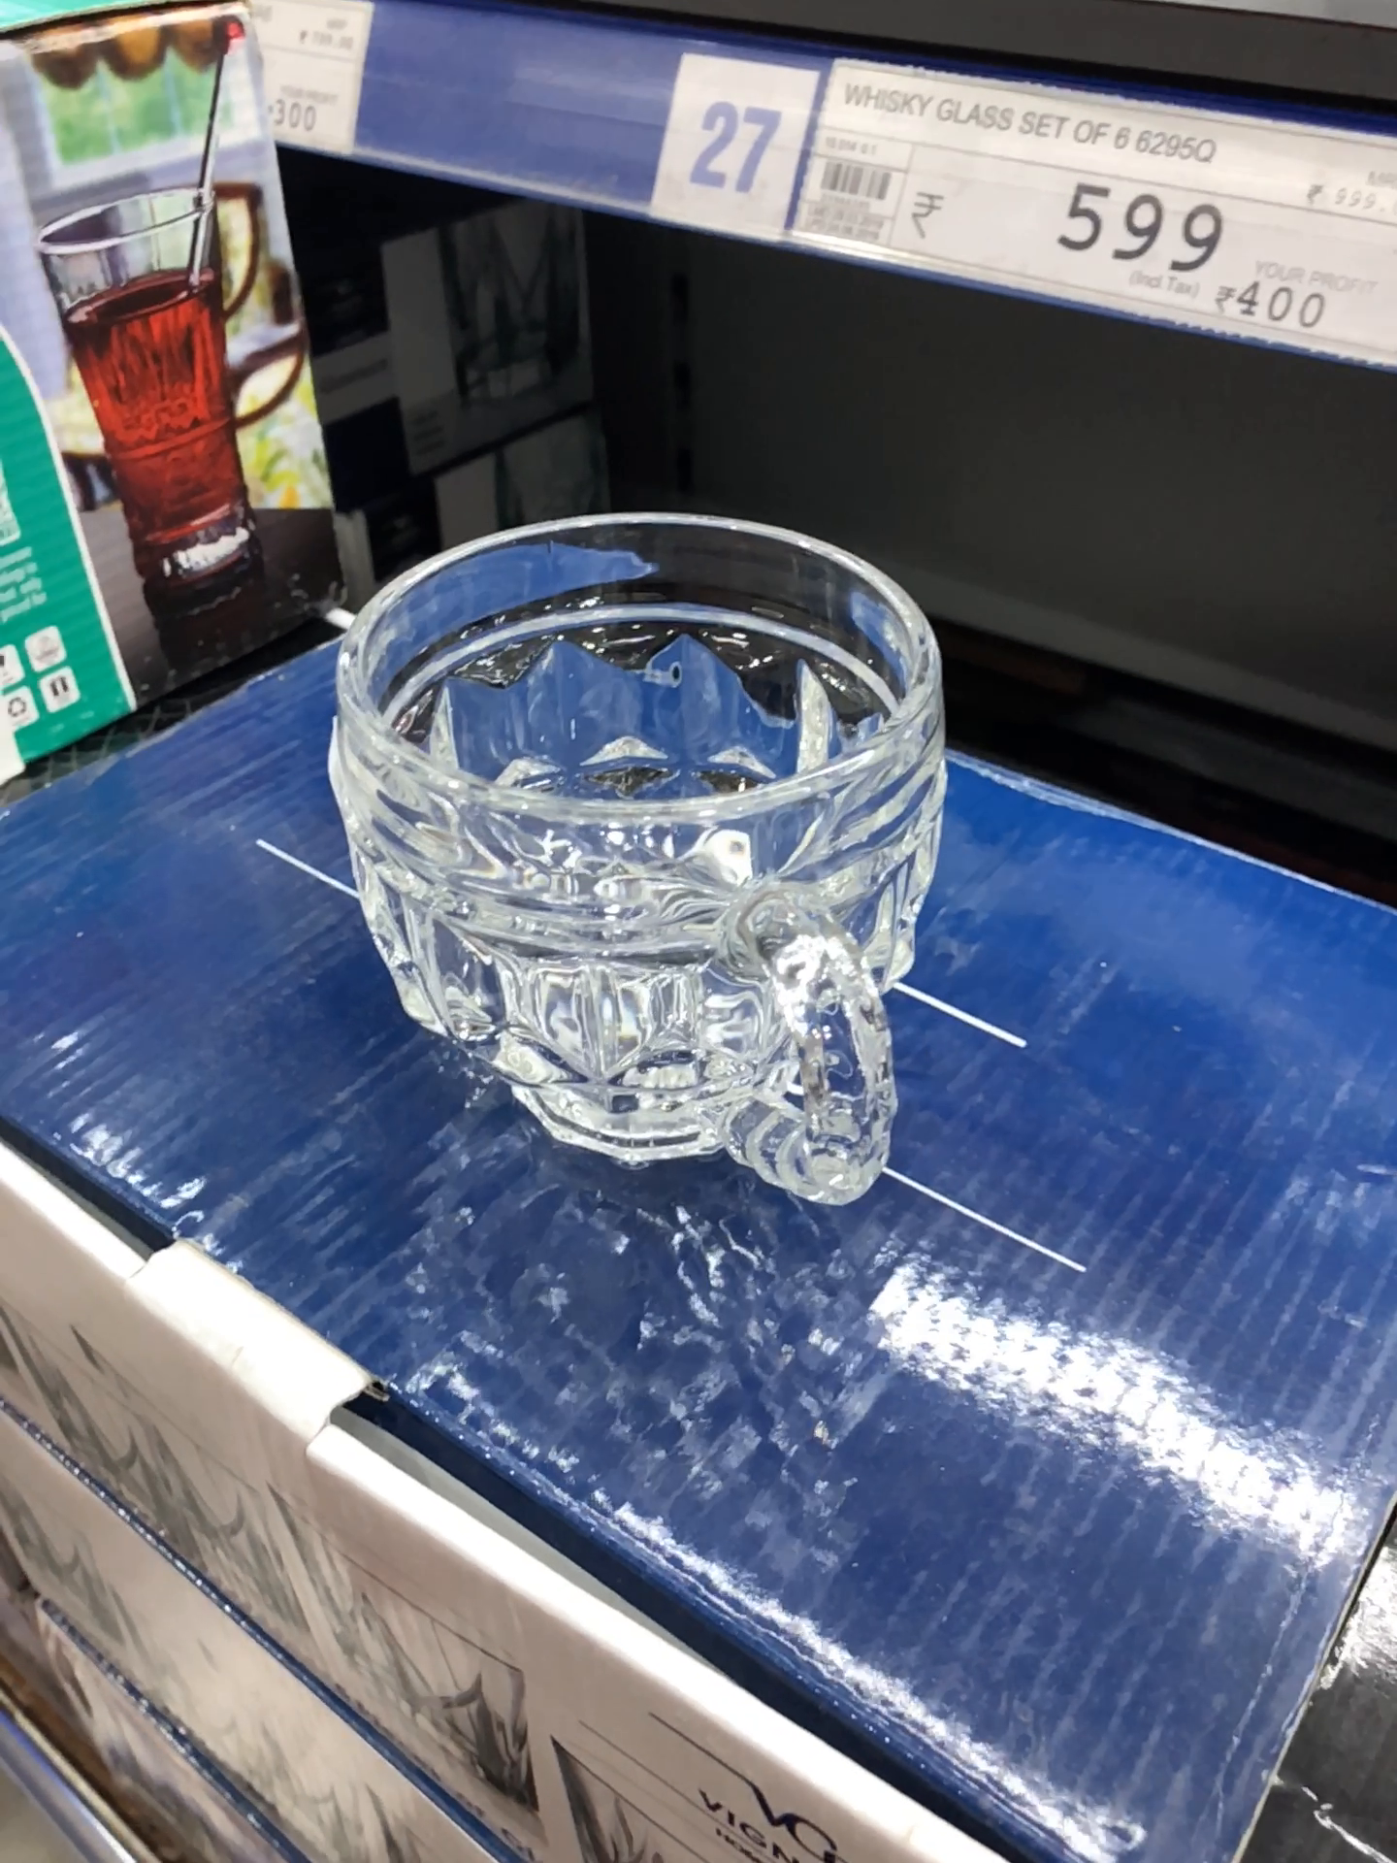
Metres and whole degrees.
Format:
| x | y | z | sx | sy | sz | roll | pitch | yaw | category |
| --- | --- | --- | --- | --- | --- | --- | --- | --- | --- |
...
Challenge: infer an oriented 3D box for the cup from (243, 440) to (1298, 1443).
| x | y | z | sx | sy | sz | roll | pitch | yaw | category |
| --- | --- | --- | --- | --- | --- | --- | --- | --- | --- |
| -0.001 | -0.010 | 0.205 | 0.090 | 0.060 | 0.110 | -14 | 40 | -16 | cup |
